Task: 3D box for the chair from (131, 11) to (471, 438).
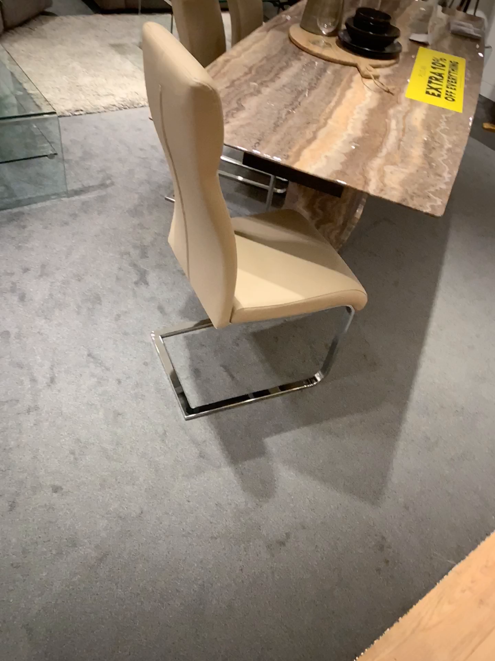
[{"bbox_3d":[0.025,-0.241,1.394,0.570,0.974,0.477,-12,50,-23],"label":"chair"}]
